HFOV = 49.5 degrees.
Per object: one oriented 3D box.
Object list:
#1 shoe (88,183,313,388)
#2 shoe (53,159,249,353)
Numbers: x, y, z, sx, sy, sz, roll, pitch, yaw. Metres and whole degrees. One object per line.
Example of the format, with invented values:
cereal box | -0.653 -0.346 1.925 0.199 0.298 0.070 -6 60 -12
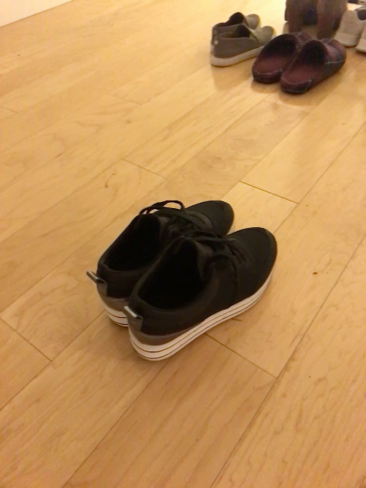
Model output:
shoe | 0.034 0.050 0.562 0.291 0.139 0.100 -29 50 -22
shoe | -0.032 0.008 0.608 0.281 0.139 0.100 -37 54 -28
